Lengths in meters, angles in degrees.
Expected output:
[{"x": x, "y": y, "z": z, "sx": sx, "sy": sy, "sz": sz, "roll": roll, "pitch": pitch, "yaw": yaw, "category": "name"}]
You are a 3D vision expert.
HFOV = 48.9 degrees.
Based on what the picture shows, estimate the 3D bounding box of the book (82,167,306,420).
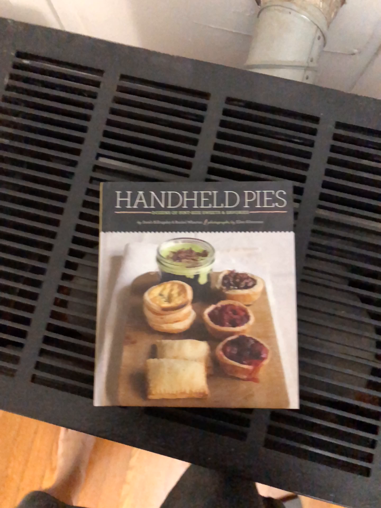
[{"x": 0.002, "y": 0.033, "z": 0.399, "sx": 0.200, "sy": 0.020, "sz": 0.230, "roll": 0, "pitch": 82, "yaw": 4, "category": "book"}]
